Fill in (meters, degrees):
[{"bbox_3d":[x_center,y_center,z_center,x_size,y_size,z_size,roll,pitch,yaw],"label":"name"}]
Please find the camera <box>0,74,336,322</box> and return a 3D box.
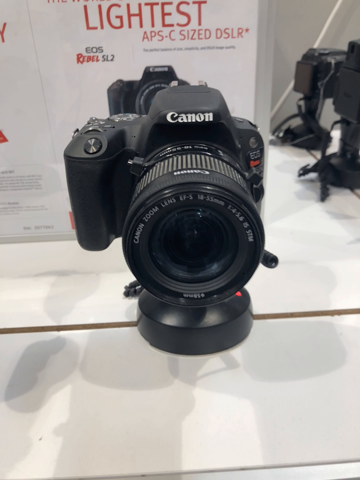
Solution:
[{"bbox_3d":[-0.009,-0.033,0.218,0.130,0.089,0.121,-2,28,0],"label":"camera"}]
